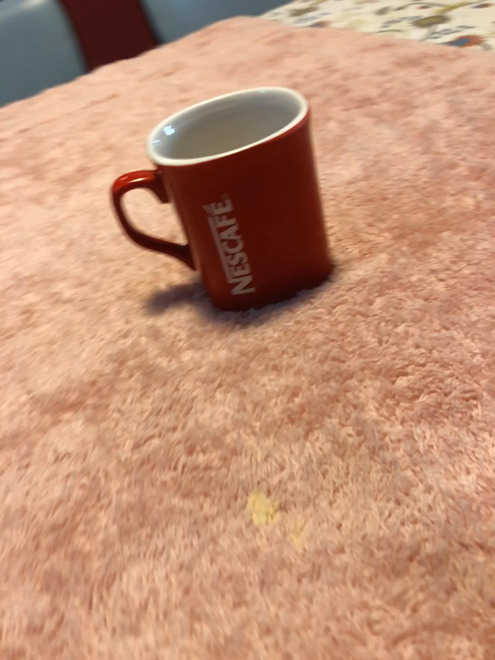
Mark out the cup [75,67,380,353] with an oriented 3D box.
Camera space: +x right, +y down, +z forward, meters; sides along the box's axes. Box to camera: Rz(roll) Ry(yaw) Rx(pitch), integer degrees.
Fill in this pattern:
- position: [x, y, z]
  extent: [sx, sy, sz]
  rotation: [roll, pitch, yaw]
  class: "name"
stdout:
- position: [-0.007, -0.052, 0.235]
  extent: [0.100, 0.070, 0.071]
  rotation: [-16, 39, 3]
  class: "cup"
